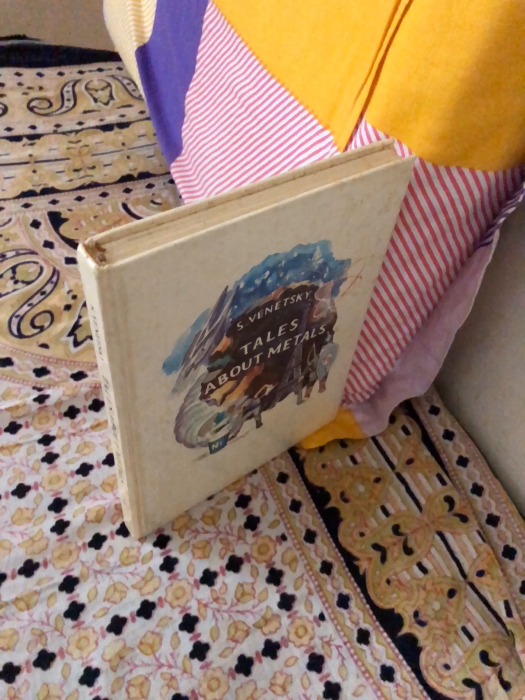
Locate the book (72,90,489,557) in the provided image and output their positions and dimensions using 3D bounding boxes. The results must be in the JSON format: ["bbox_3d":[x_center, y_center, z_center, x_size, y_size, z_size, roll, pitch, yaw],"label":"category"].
[{"bbox_3d":[0.000,-0.005,0.338,0.190,0.249,0.050,-22,55,-31],"label":"book"}]
